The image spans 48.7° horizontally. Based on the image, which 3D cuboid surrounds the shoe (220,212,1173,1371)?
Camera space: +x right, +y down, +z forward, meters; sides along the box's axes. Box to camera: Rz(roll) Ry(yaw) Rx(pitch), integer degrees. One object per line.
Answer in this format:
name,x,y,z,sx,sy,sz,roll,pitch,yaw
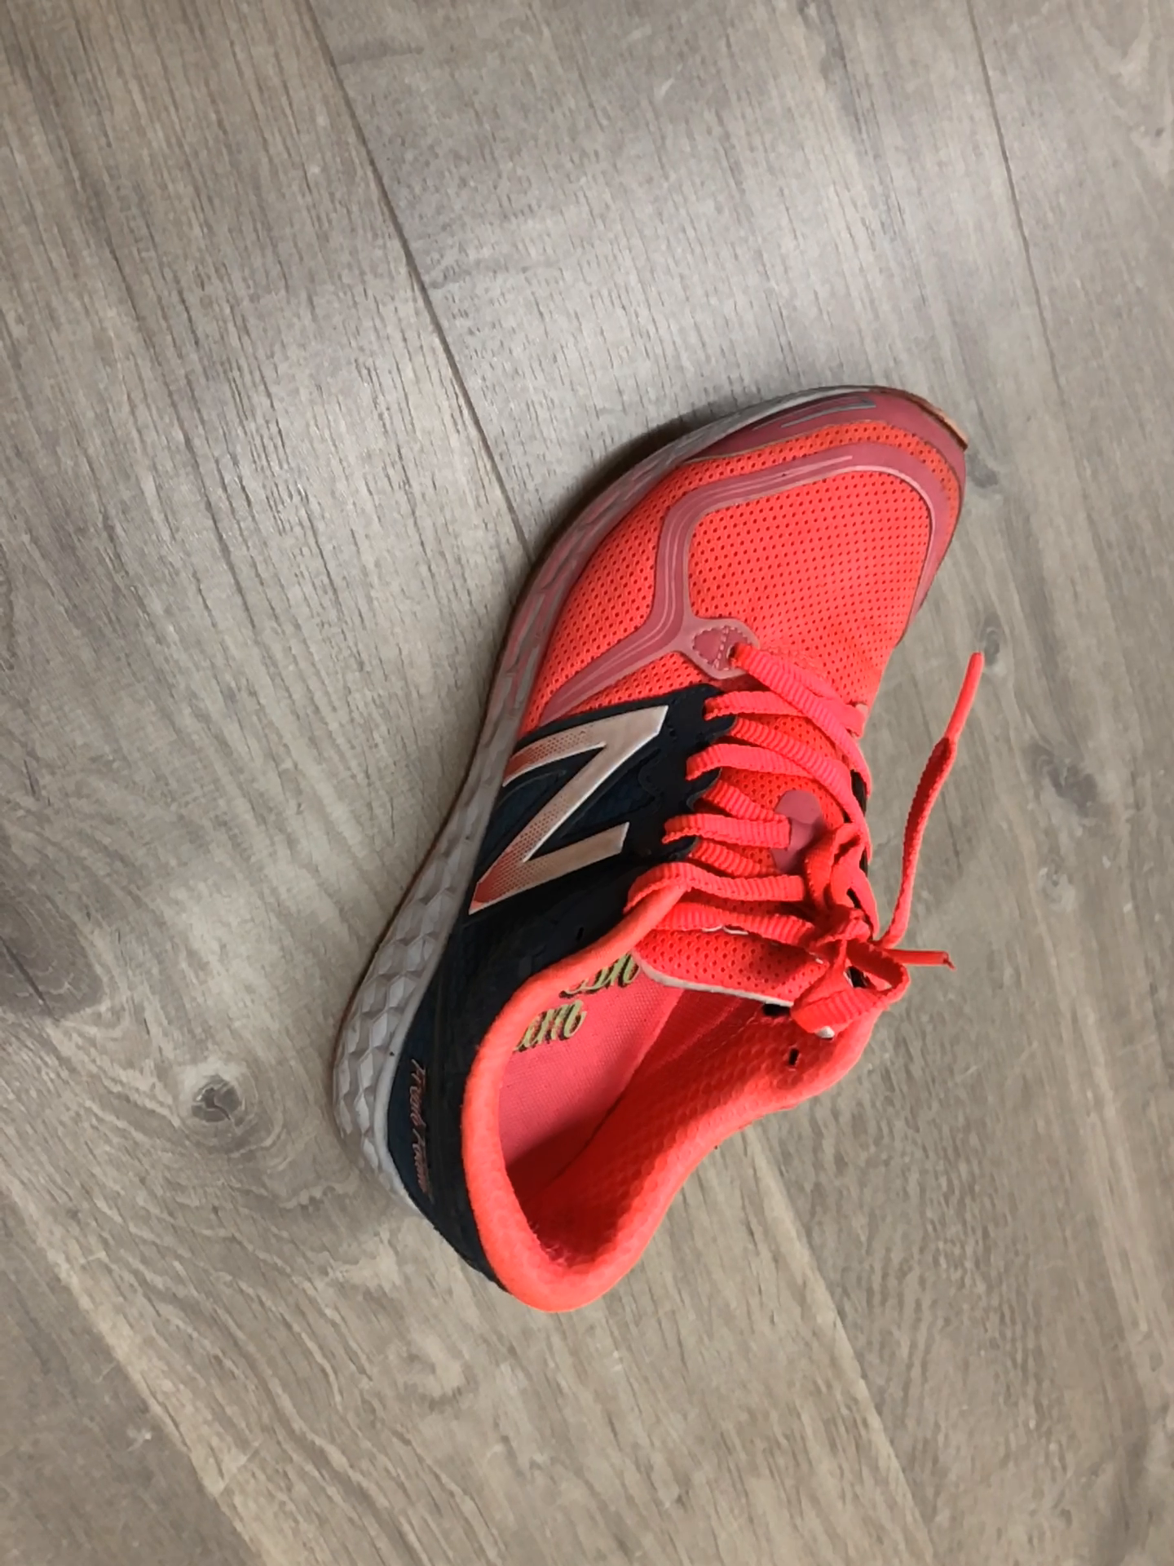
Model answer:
shoe,0.024,-0.002,0.332,0.100,0.110,0.240,34,85,-28
